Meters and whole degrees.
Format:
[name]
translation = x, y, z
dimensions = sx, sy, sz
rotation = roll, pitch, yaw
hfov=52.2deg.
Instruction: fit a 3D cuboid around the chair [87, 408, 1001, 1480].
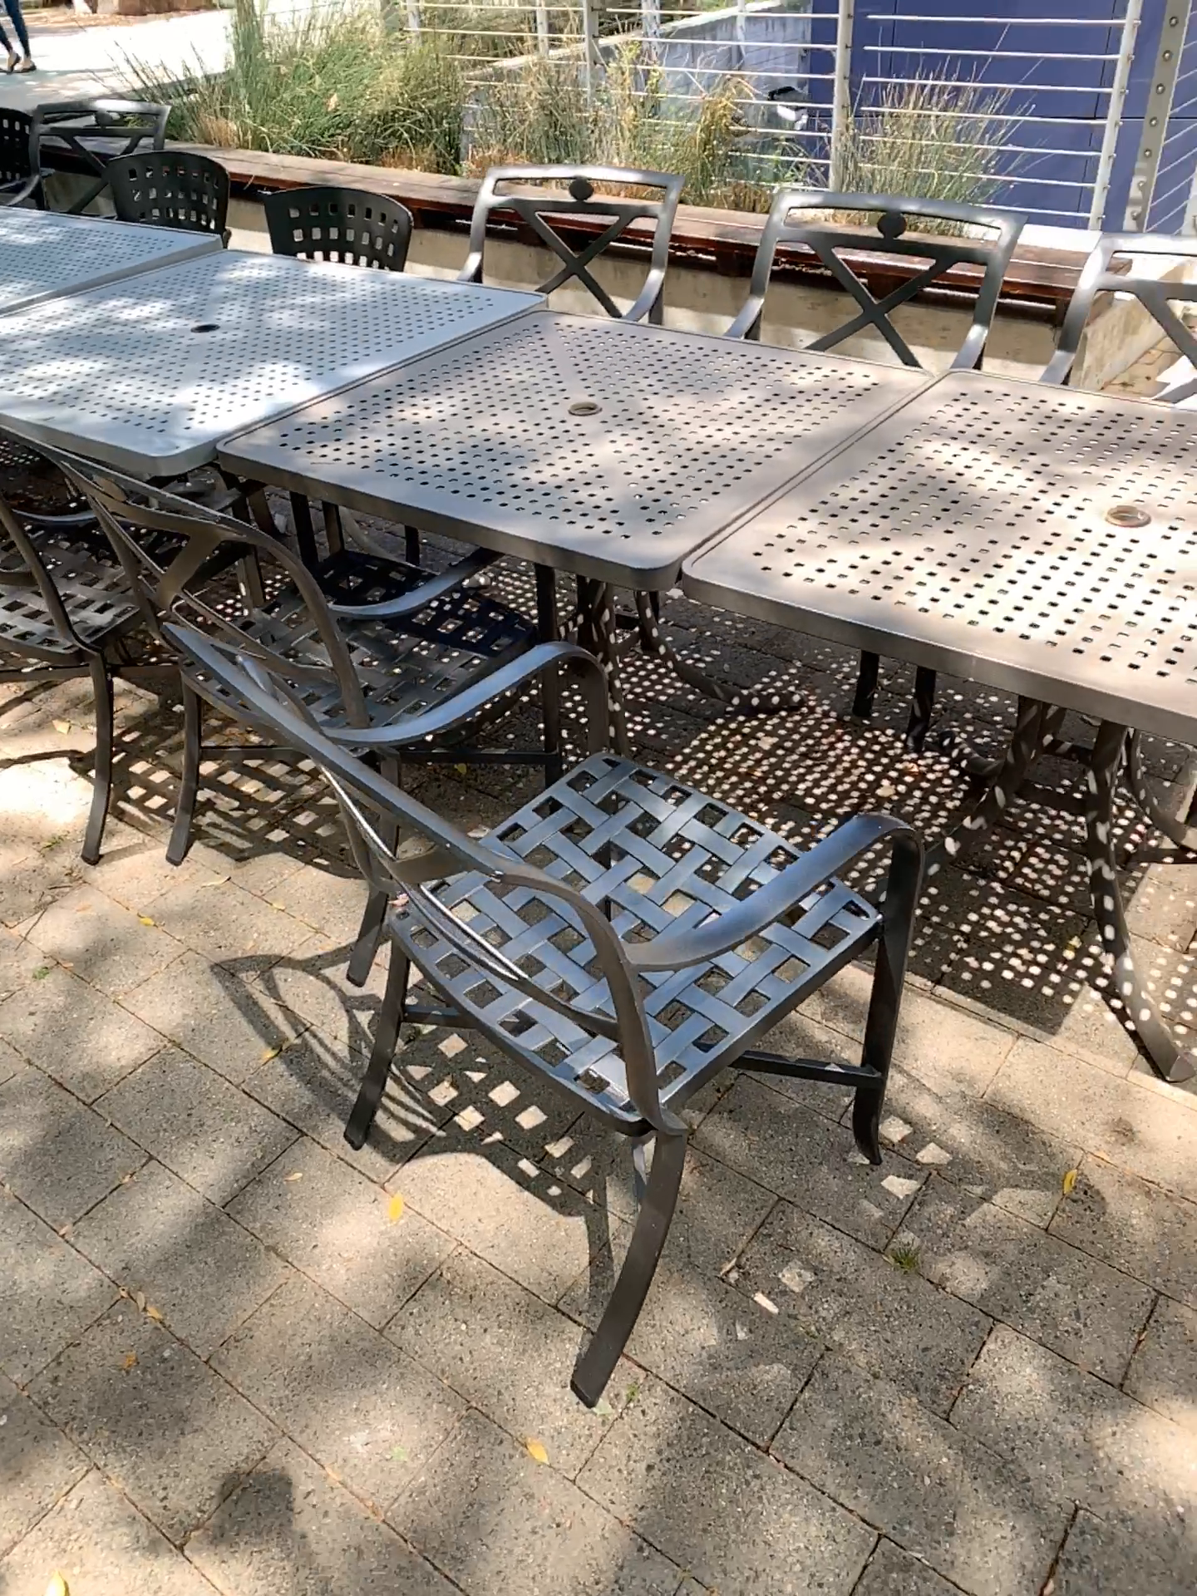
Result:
[chair]
translation = -0.048, 0.139, 1.436
dimensions = 0.611, 0.885, 0.633
rotation = -30, 45, -30
